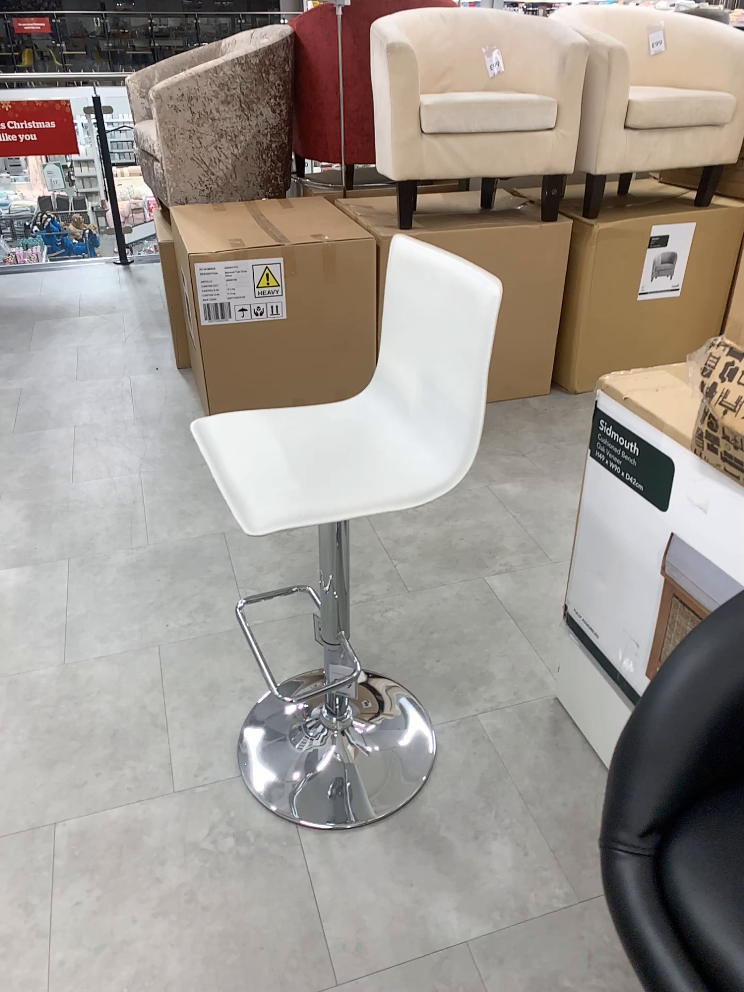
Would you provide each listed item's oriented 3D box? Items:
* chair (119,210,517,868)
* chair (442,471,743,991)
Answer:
[{"bbox_3d":[-0.106,0.075,1.333,0.442,0.989,0.463,-12,33,-19],"label":"chair"},{"bbox_3d":[0.381,0.523,0.664,0.442,0.910,0.473,-10,33,-16],"label":"chair"}]
